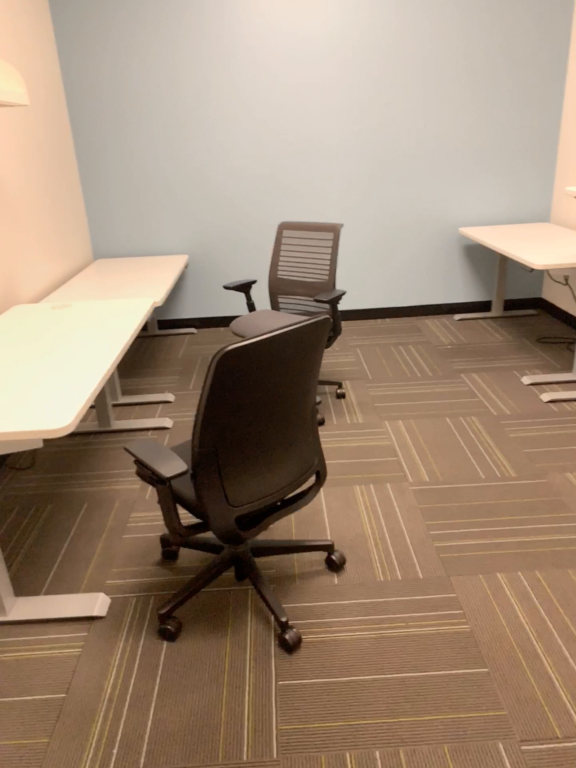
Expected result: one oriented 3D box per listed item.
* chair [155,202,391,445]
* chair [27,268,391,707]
[{"bbox_3d":[-0.053,-0.396,3.084,0.893,0.995,0.771,16,29,38],"label":"chair"},{"bbox_3d":[-0.205,0.209,1.808,0.773,0.935,0.681,17,29,40],"label":"chair"}]
